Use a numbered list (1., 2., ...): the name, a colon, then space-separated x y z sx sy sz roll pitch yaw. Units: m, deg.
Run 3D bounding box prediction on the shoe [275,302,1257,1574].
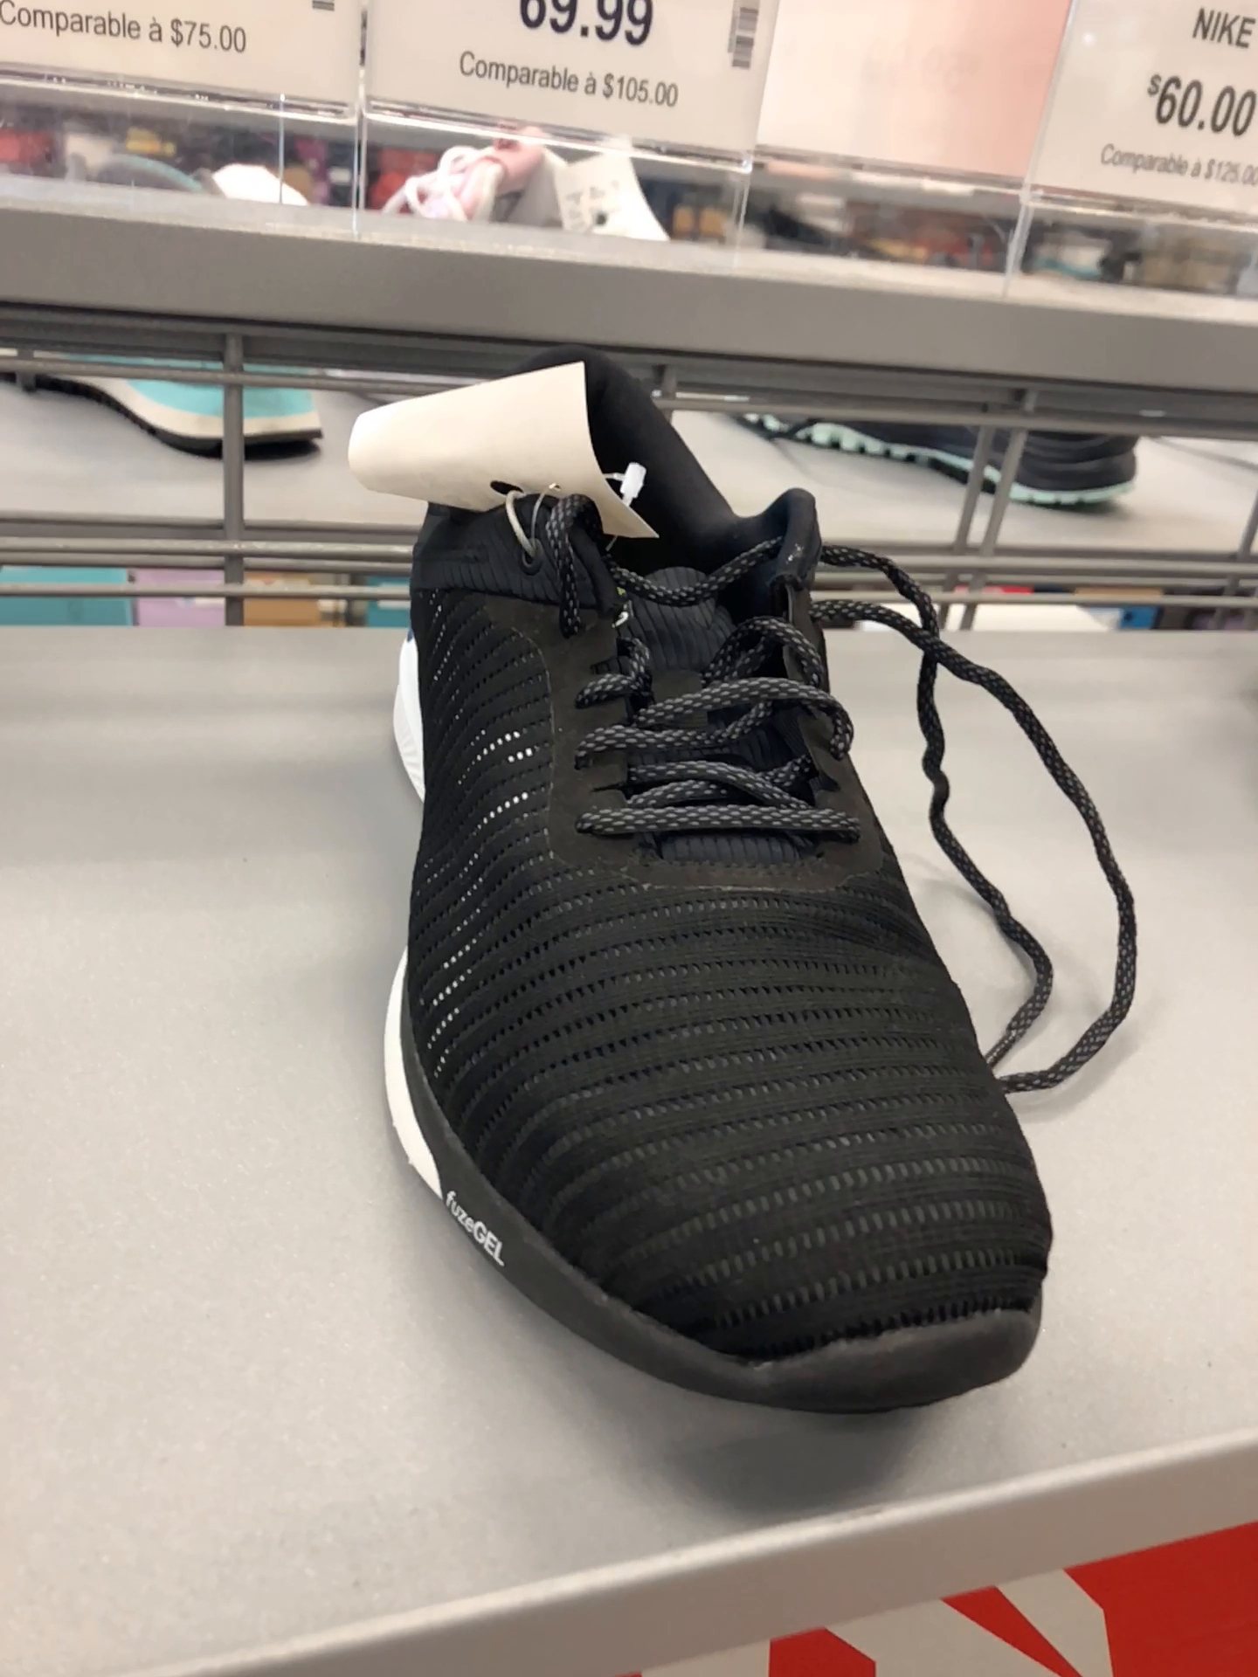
1. shoe: -0.003 -0.024 0.315 0.120 0.119 0.302 -2 31 -19
